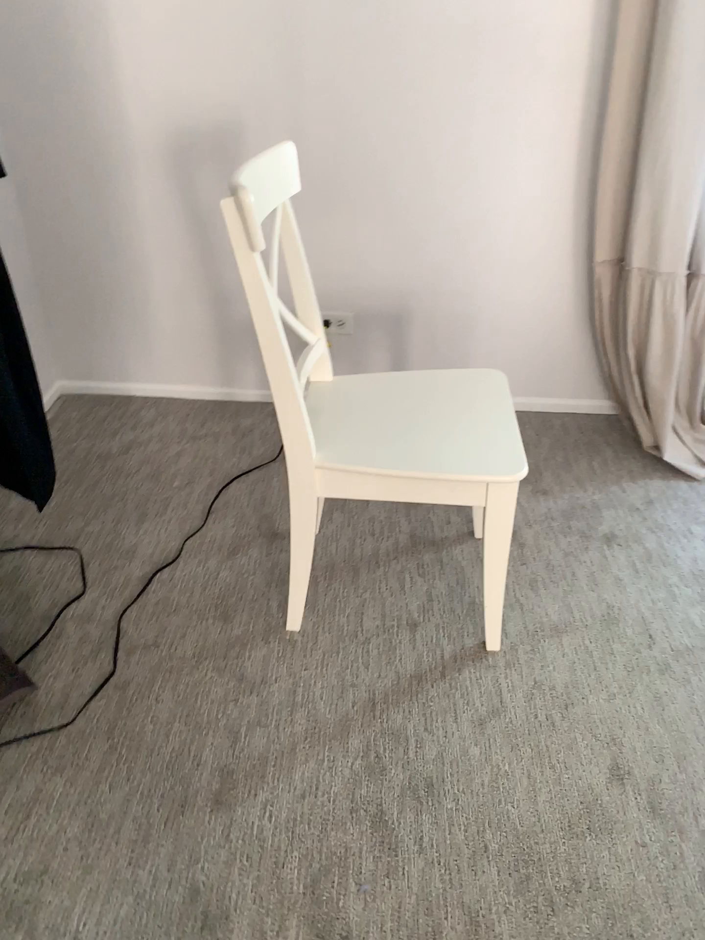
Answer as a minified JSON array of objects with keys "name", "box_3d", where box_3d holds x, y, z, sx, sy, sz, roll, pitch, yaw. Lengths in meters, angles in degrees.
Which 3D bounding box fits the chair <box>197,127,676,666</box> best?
[{"name":"chair","box_3d":[0.107,-0.158,1.320,0.570,0.765,0.614,3,33,2]}]
